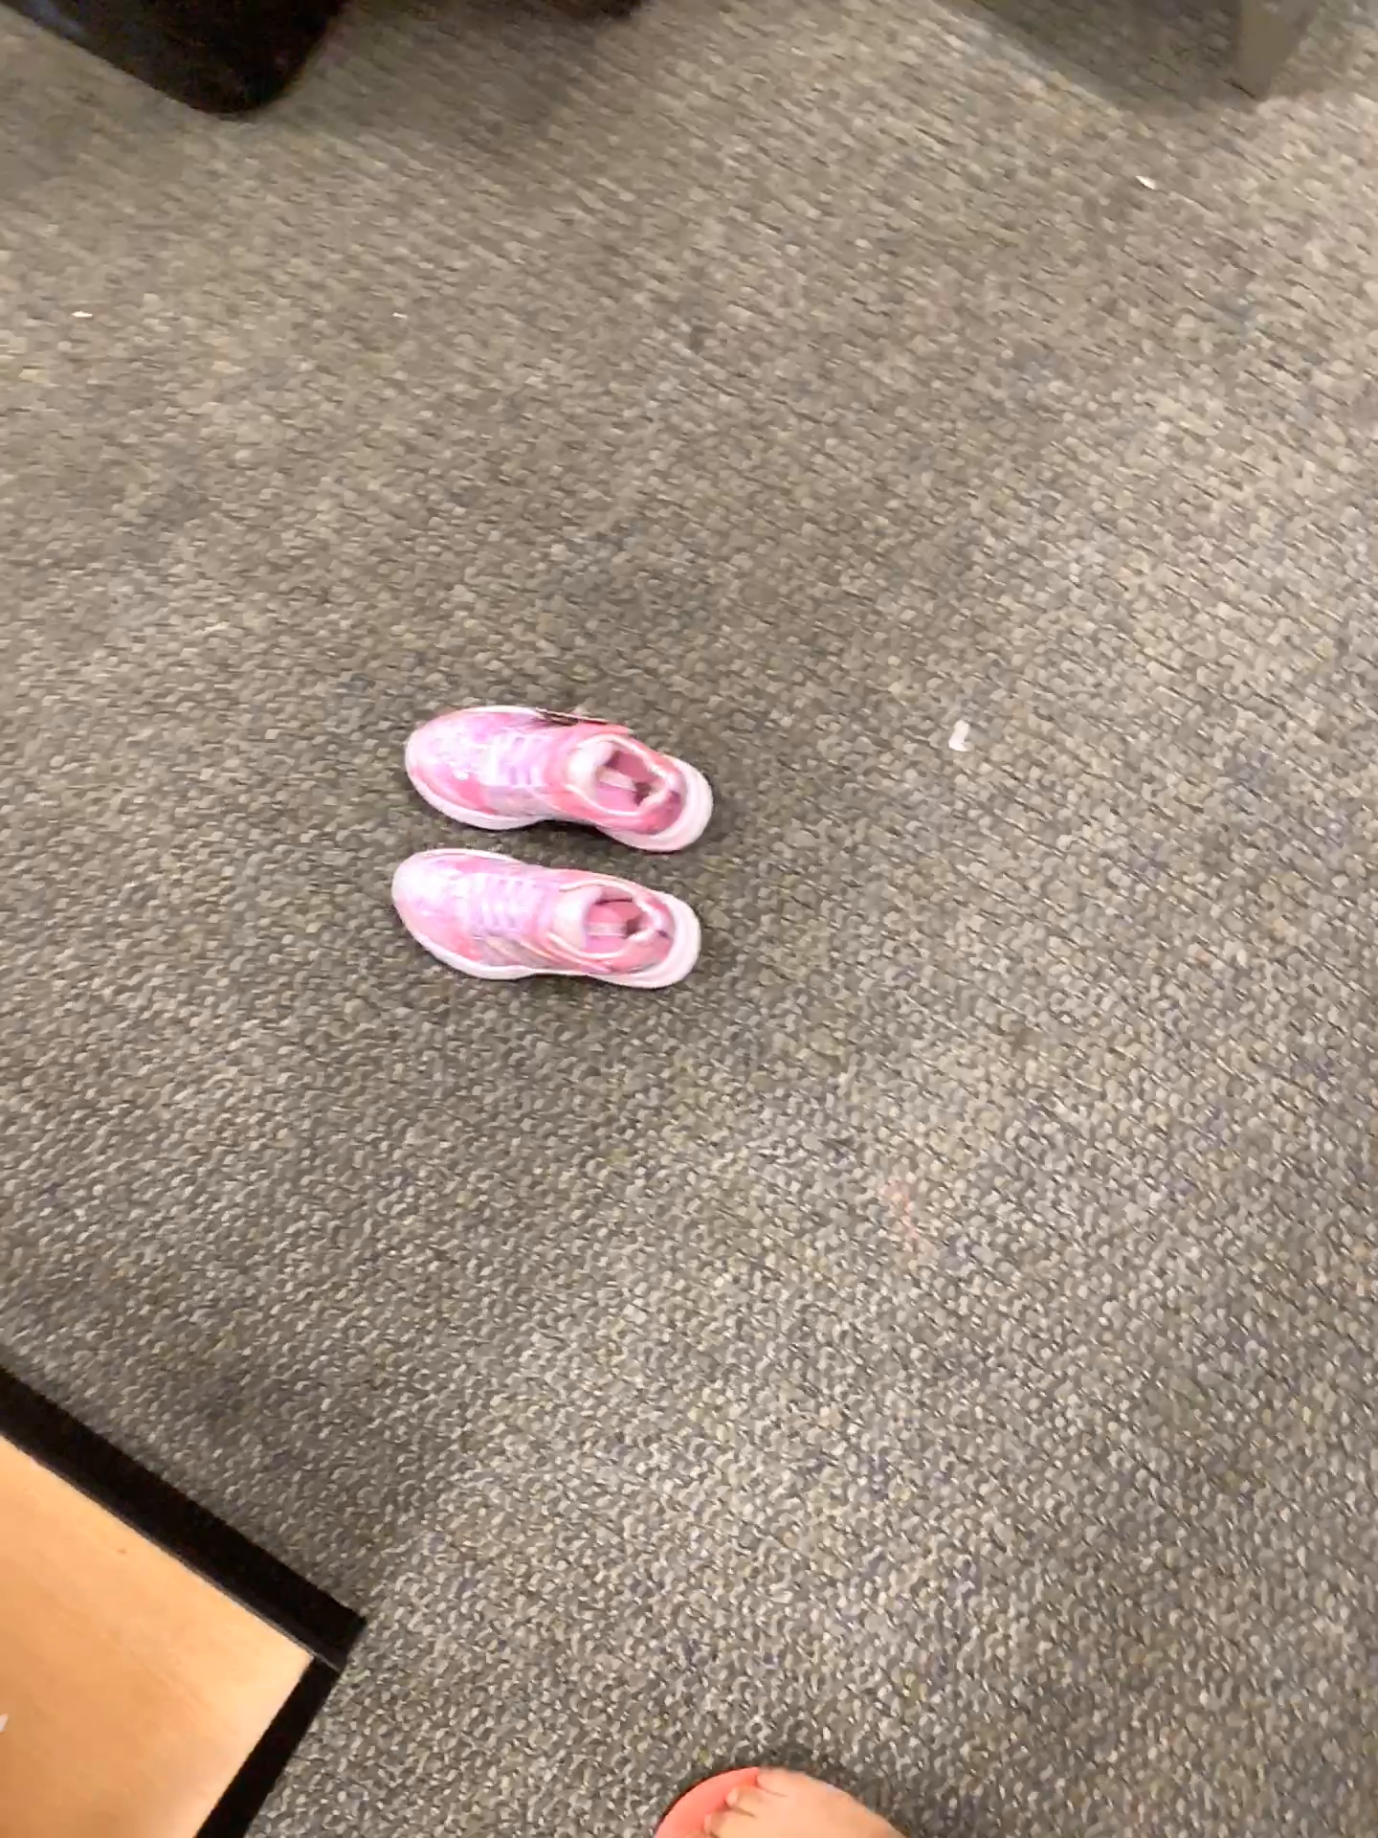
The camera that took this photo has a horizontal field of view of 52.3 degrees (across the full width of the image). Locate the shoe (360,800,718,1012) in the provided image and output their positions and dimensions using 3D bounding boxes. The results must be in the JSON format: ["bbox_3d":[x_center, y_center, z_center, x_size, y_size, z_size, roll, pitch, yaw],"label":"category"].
[{"bbox_3d":[-0.089,-0.005,0.890,0.200,0.110,0.086,10,83,1],"label":"shoe"}]

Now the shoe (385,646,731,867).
[{"bbox_3d":[-0.080,-0.102,0.918,0.200,0.110,0.086,10,83,1],"label":"shoe"}]
